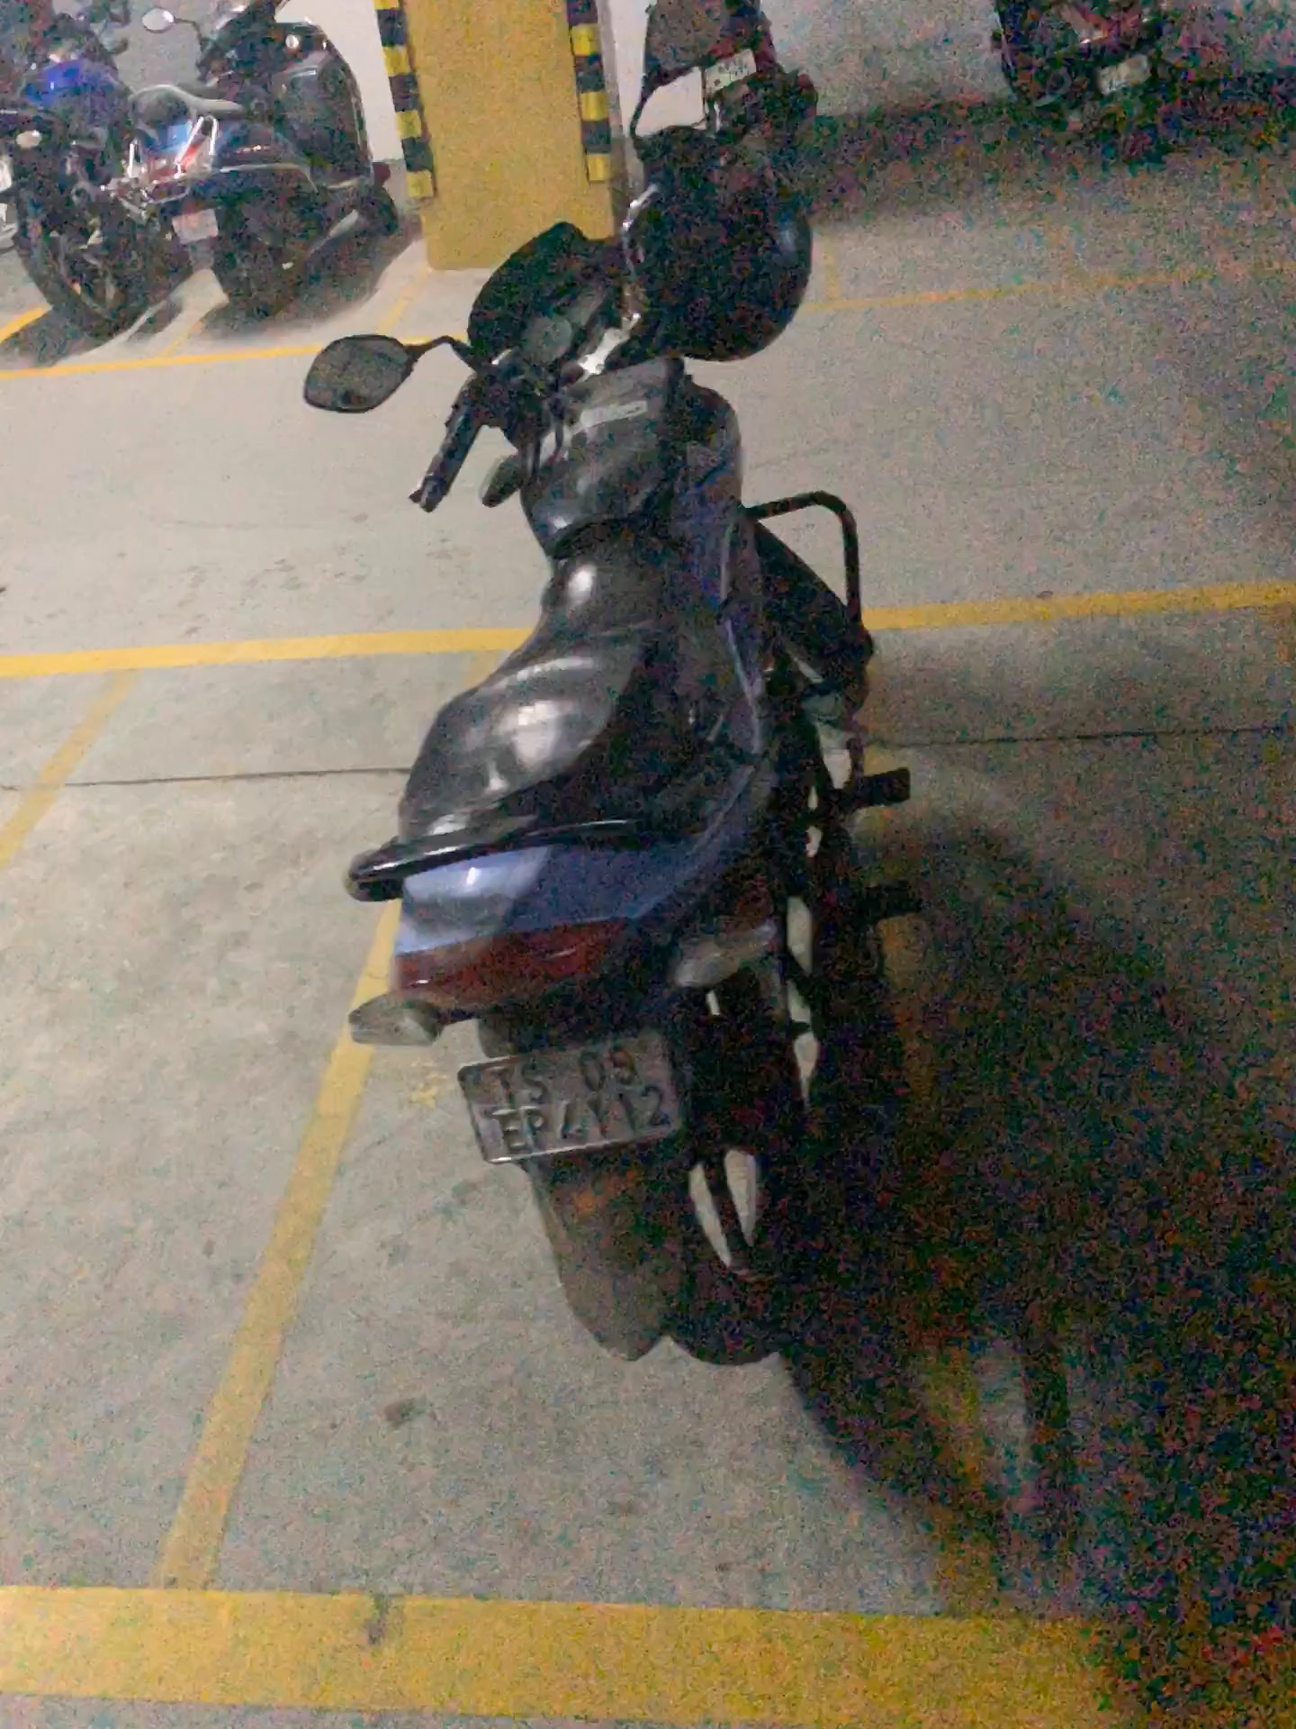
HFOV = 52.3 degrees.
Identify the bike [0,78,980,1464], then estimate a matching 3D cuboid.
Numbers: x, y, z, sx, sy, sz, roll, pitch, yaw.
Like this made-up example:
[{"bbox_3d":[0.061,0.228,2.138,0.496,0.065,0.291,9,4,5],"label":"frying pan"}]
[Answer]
[{"bbox_3d":[-0.191,-0.285,1.807,0.780,1.108,1.709,-6,38,2],"label":"bike"}]
